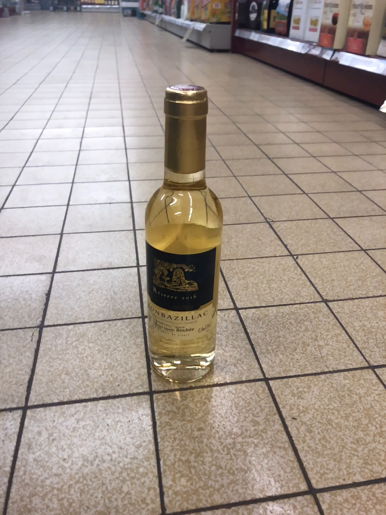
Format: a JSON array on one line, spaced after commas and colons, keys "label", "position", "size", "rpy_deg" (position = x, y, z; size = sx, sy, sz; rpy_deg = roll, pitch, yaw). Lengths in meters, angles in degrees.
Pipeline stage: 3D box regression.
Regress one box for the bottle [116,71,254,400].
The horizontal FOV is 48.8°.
[{"label": "bottle", "position": [-0.003, -0.008, 0.327], "size": [0.070, 0.239, 0.070], "rpy_deg": [1, 30, -1]}]
